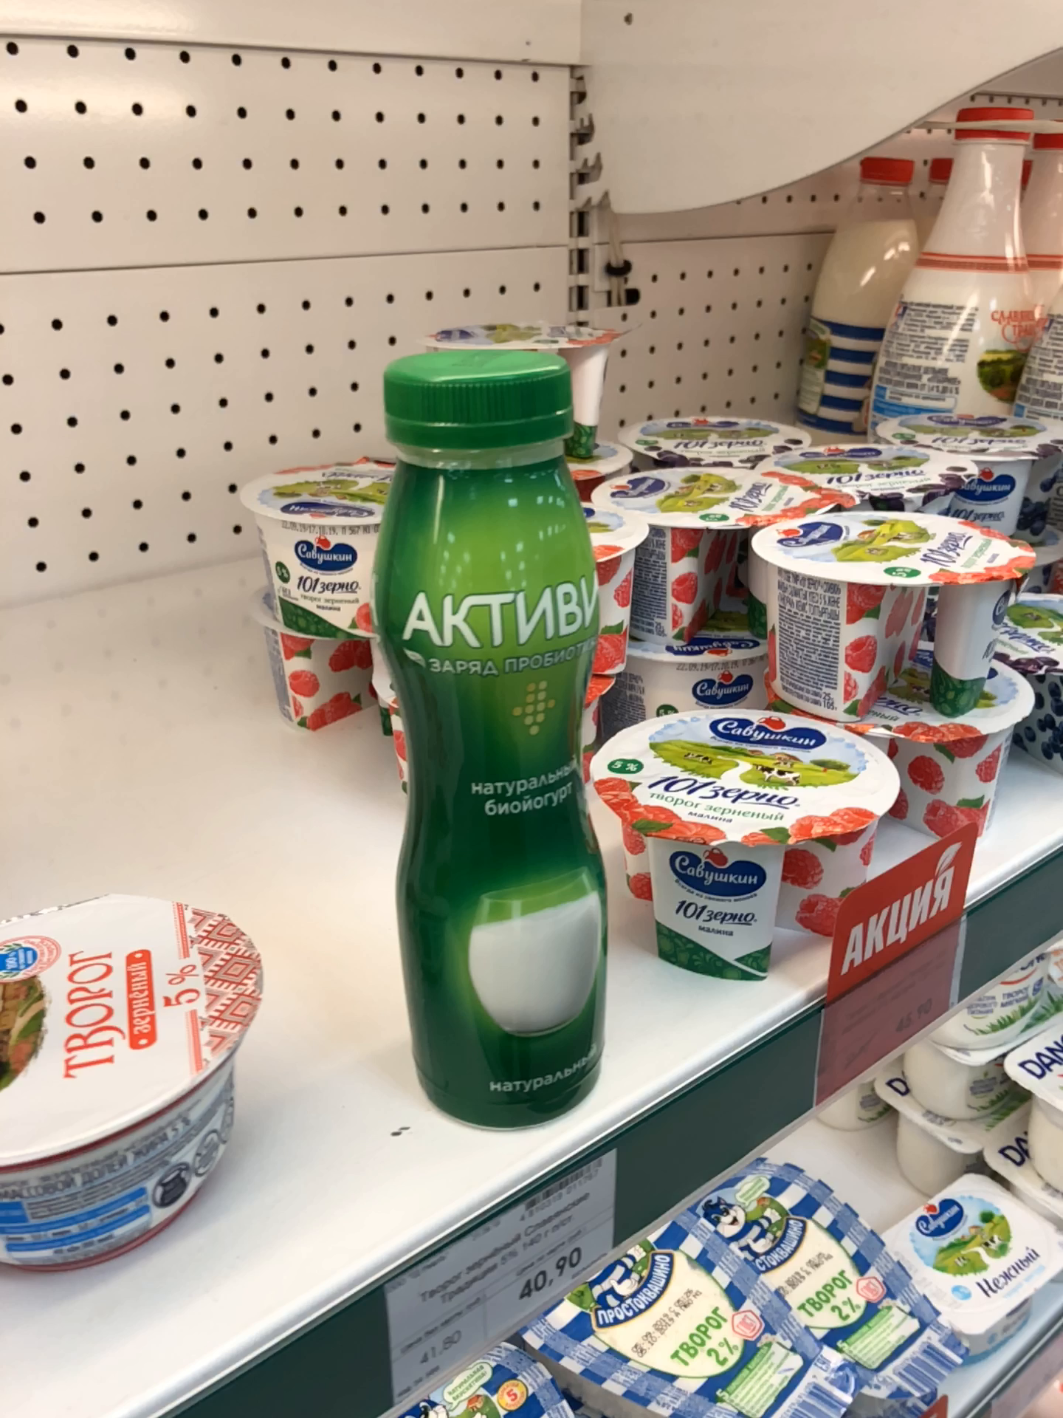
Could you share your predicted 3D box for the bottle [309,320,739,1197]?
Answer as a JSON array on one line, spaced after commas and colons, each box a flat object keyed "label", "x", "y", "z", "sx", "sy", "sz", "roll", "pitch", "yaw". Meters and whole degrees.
[{"label": "bottle", "x": -0.002, "y": 0.011, "z": 0.279, "sx": 0.070, "sy": 0.189, "sz": 0.060, "roll": -11, "pitch": 25, "yaw": -22}]
